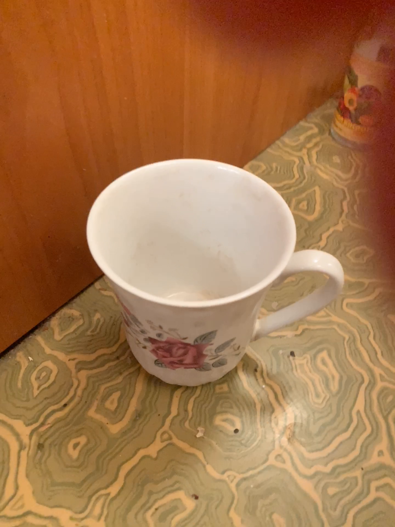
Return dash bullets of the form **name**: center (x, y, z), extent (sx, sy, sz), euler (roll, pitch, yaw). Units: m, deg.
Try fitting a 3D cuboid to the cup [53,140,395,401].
- **cup**: center (0.008, 0.004, 0.198), extent (0.118, 0.086, 0.087), euler (-2, 49, -3)
